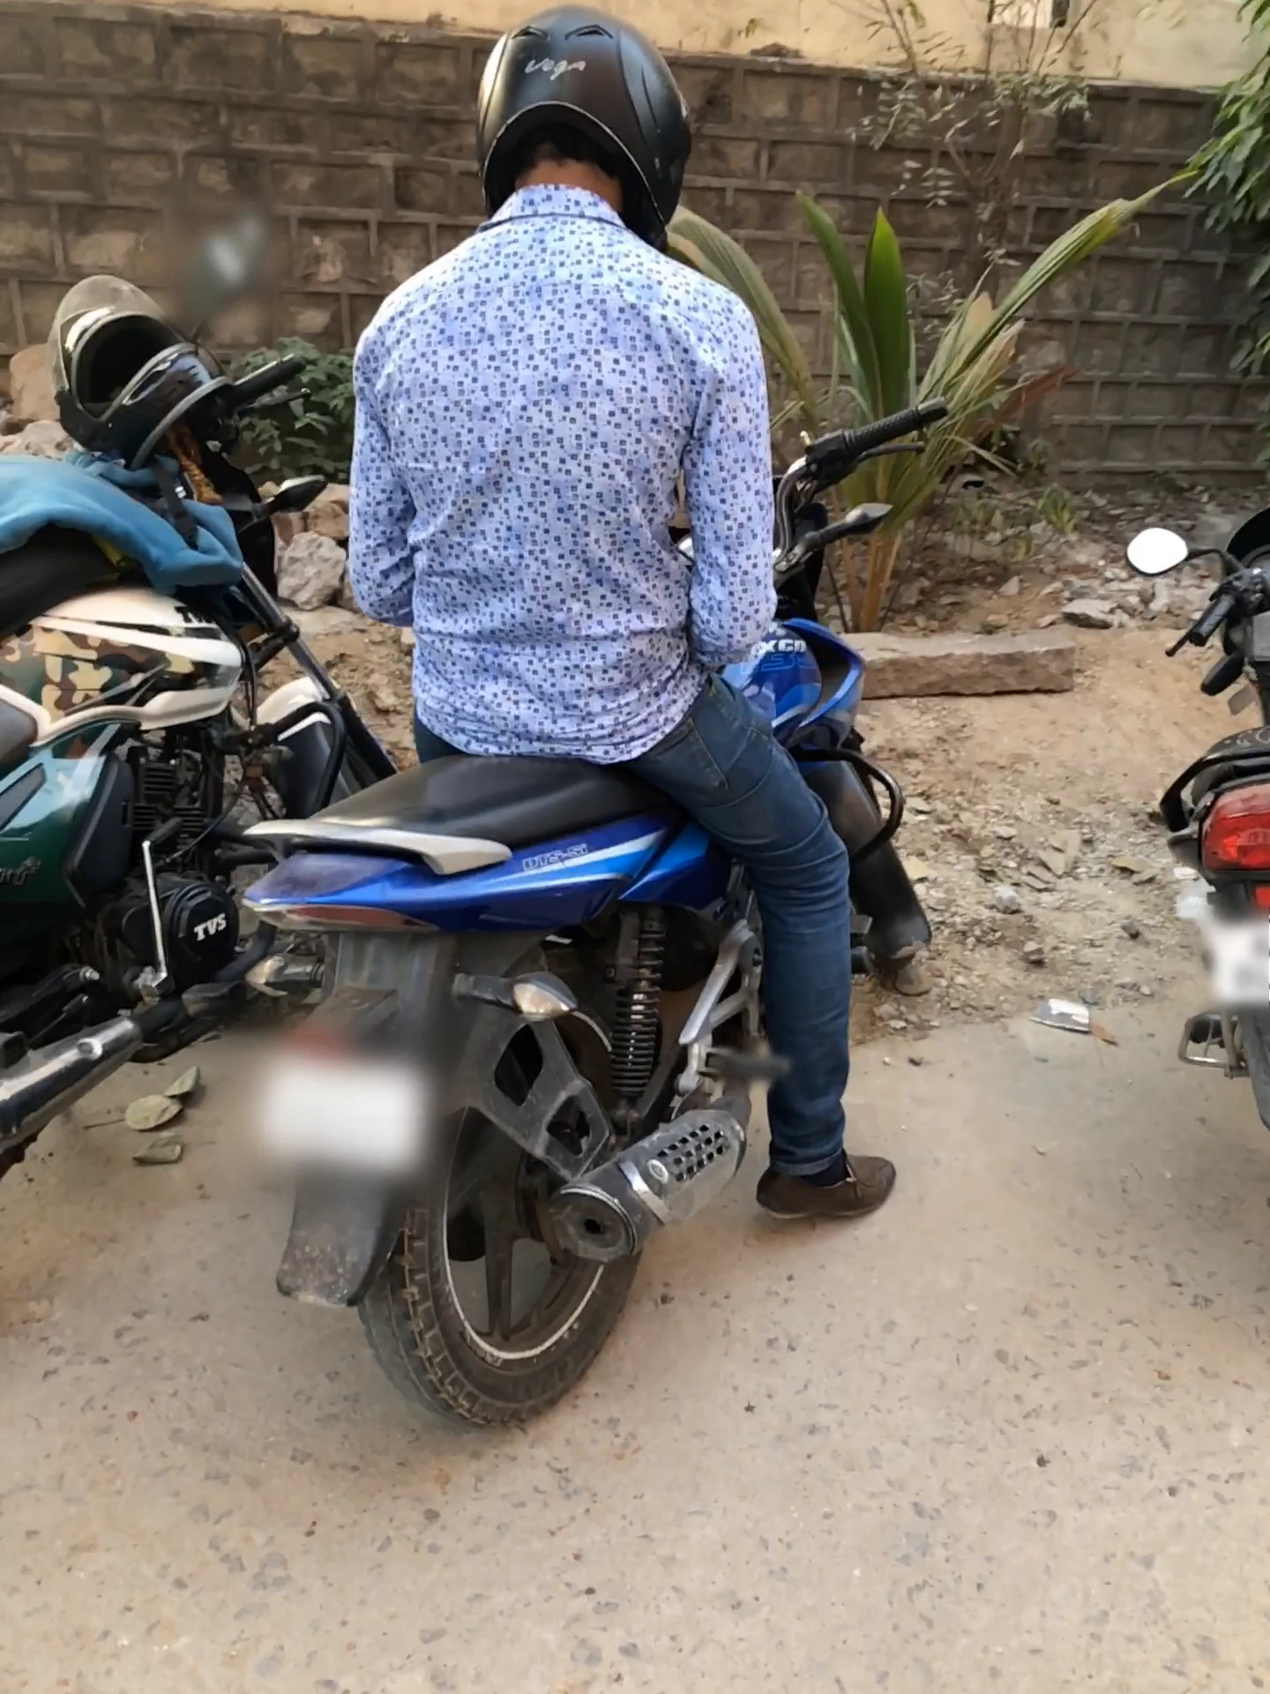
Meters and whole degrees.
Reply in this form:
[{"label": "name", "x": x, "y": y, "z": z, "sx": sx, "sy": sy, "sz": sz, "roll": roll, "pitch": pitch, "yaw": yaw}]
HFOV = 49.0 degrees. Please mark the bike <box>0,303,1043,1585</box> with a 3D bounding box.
[{"label": "bike", "x": 0.008, "y": -0.107, "z": 2.061, "sx": 0.754, "sy": 1.076, "sz": 1.584, "roll": 13, "pitch": 29, "yaw": 20}]
